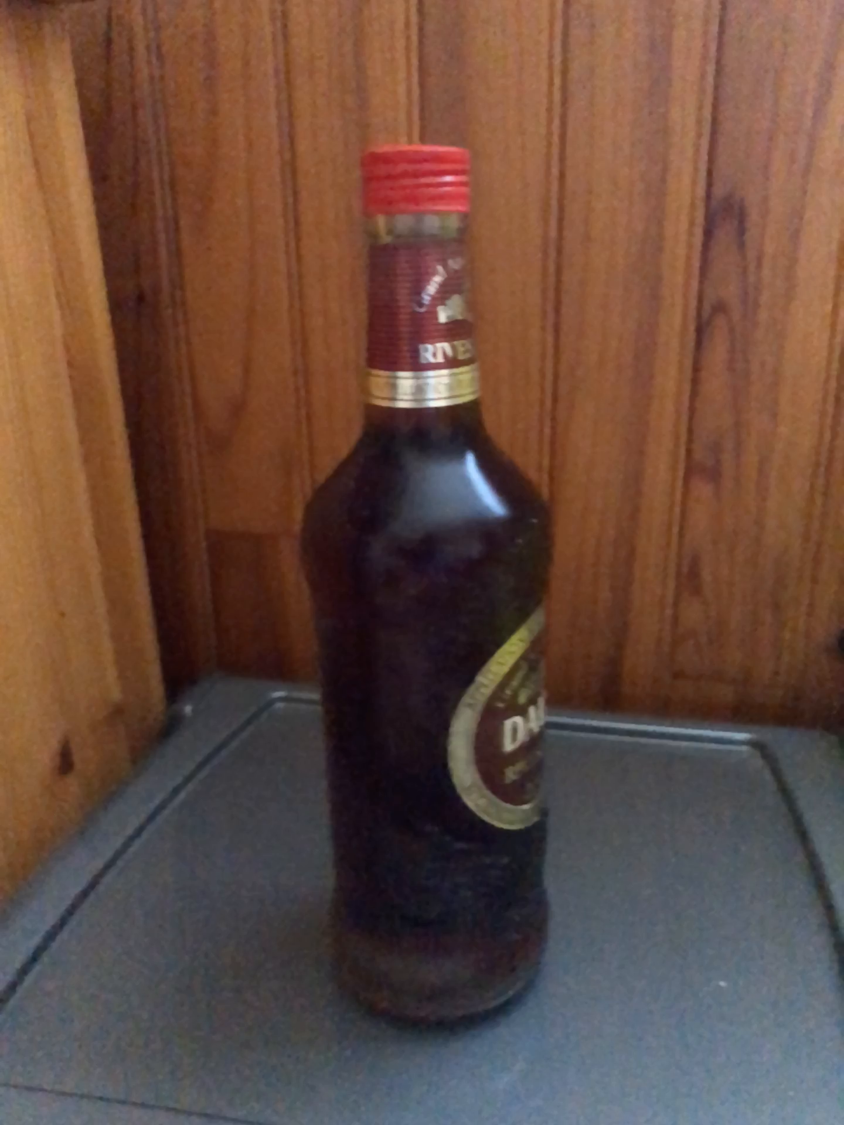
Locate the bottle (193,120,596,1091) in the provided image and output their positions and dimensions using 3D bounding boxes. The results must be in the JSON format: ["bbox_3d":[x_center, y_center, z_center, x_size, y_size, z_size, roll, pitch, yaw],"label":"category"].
[{"bbox_3d":[0.001,0.019,0.323,0.090,0.299,0.091,-1,20,0],"label":"bottle"}]
